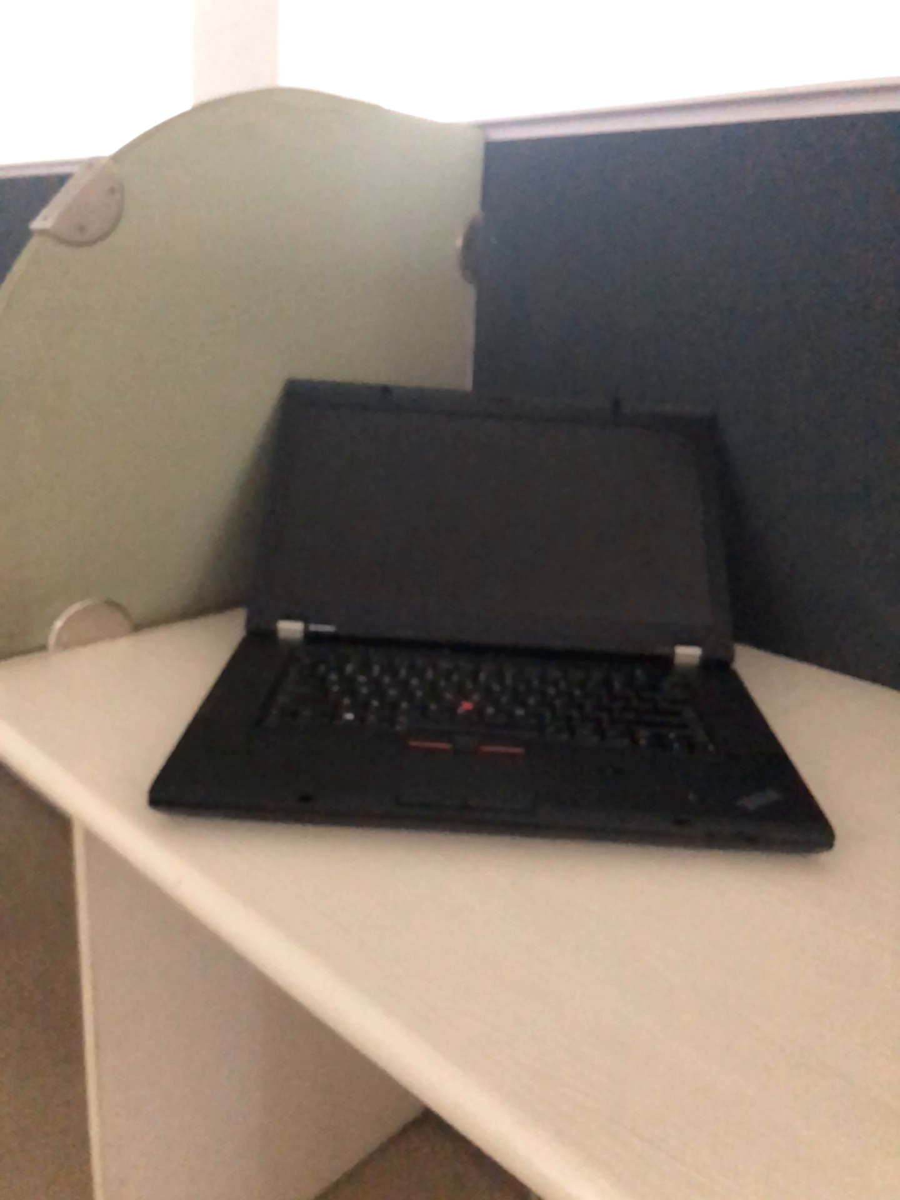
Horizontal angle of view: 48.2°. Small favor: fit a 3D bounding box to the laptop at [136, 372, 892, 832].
[{"bbox_3d":[0.032,-0.037,0.687,0.355,0.168,0.406,3,19,1],"label":"laptop"}]
